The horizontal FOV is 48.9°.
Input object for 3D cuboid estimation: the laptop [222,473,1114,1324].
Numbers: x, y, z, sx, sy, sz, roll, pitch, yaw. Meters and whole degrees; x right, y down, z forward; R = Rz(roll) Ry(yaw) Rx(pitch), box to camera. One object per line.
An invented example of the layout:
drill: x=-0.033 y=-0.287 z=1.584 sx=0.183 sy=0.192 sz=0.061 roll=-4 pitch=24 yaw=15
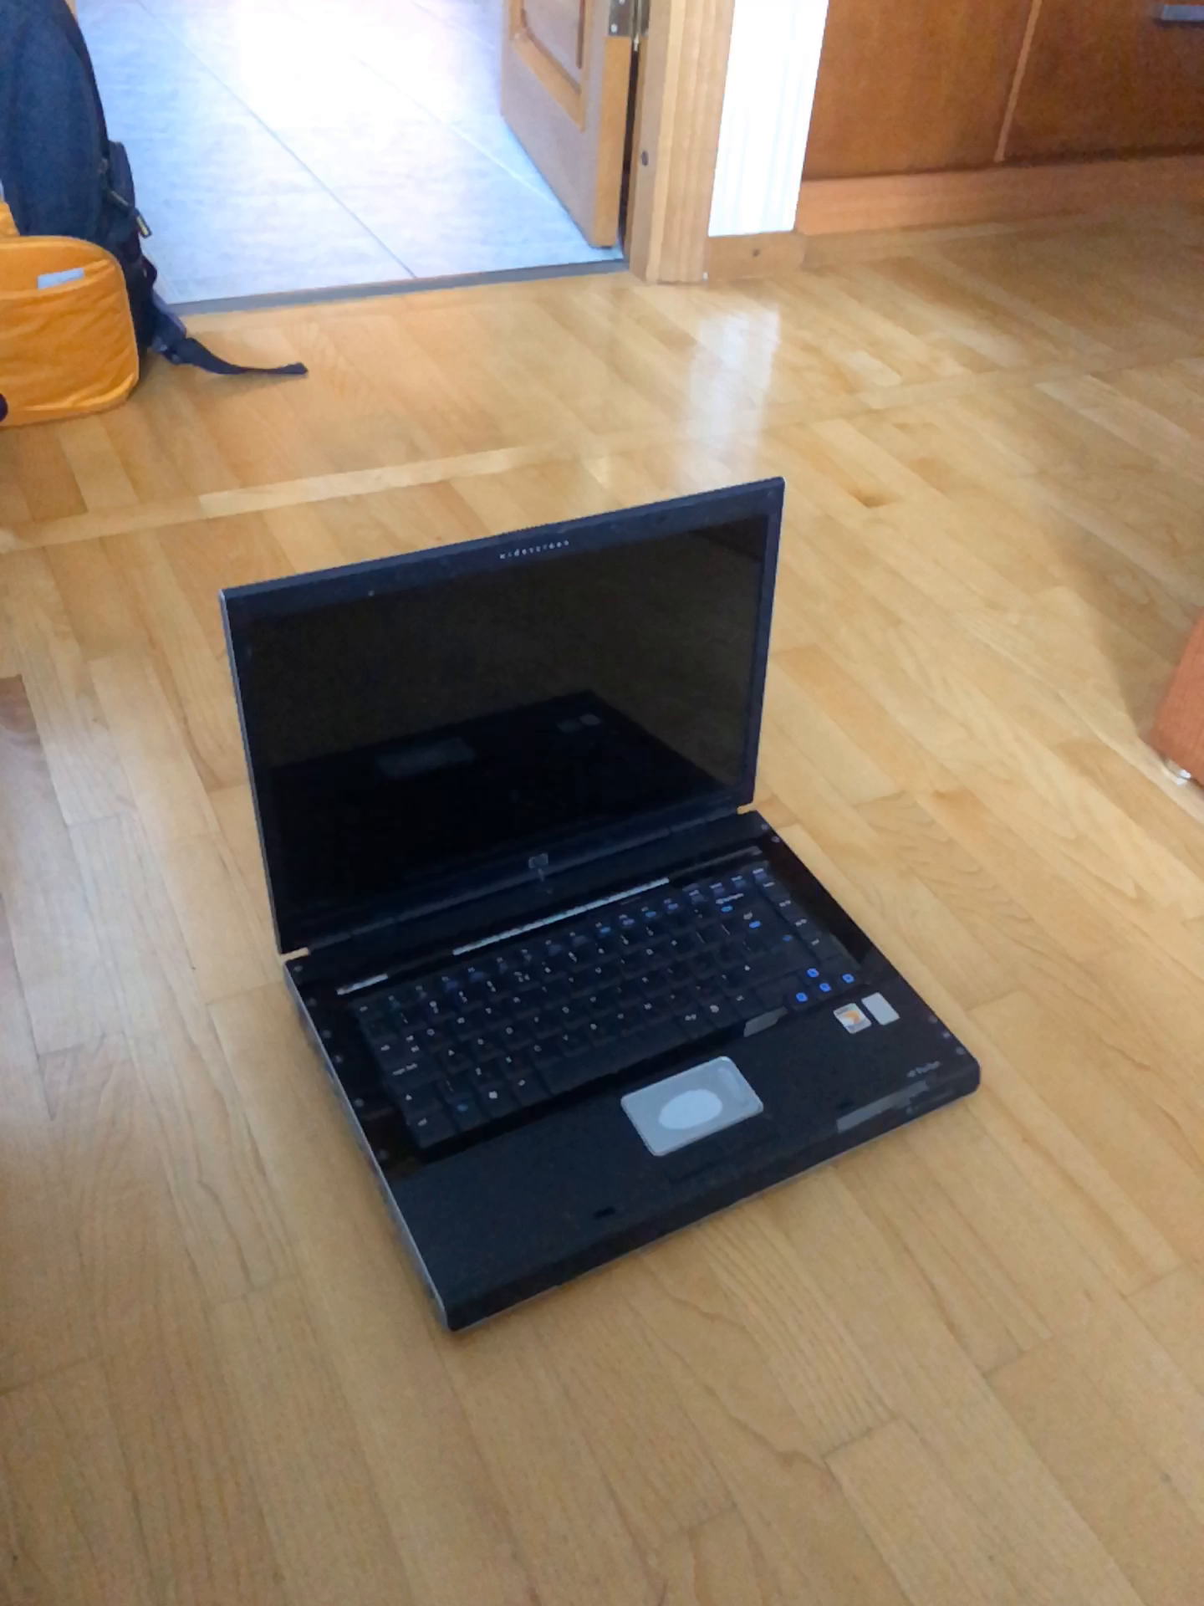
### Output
laptop: x=0.018 y=0.027 z=0.771 sx=0.364 sy=0.254 sz=0.307 roll=-17 pitch=46 yaw=-24
